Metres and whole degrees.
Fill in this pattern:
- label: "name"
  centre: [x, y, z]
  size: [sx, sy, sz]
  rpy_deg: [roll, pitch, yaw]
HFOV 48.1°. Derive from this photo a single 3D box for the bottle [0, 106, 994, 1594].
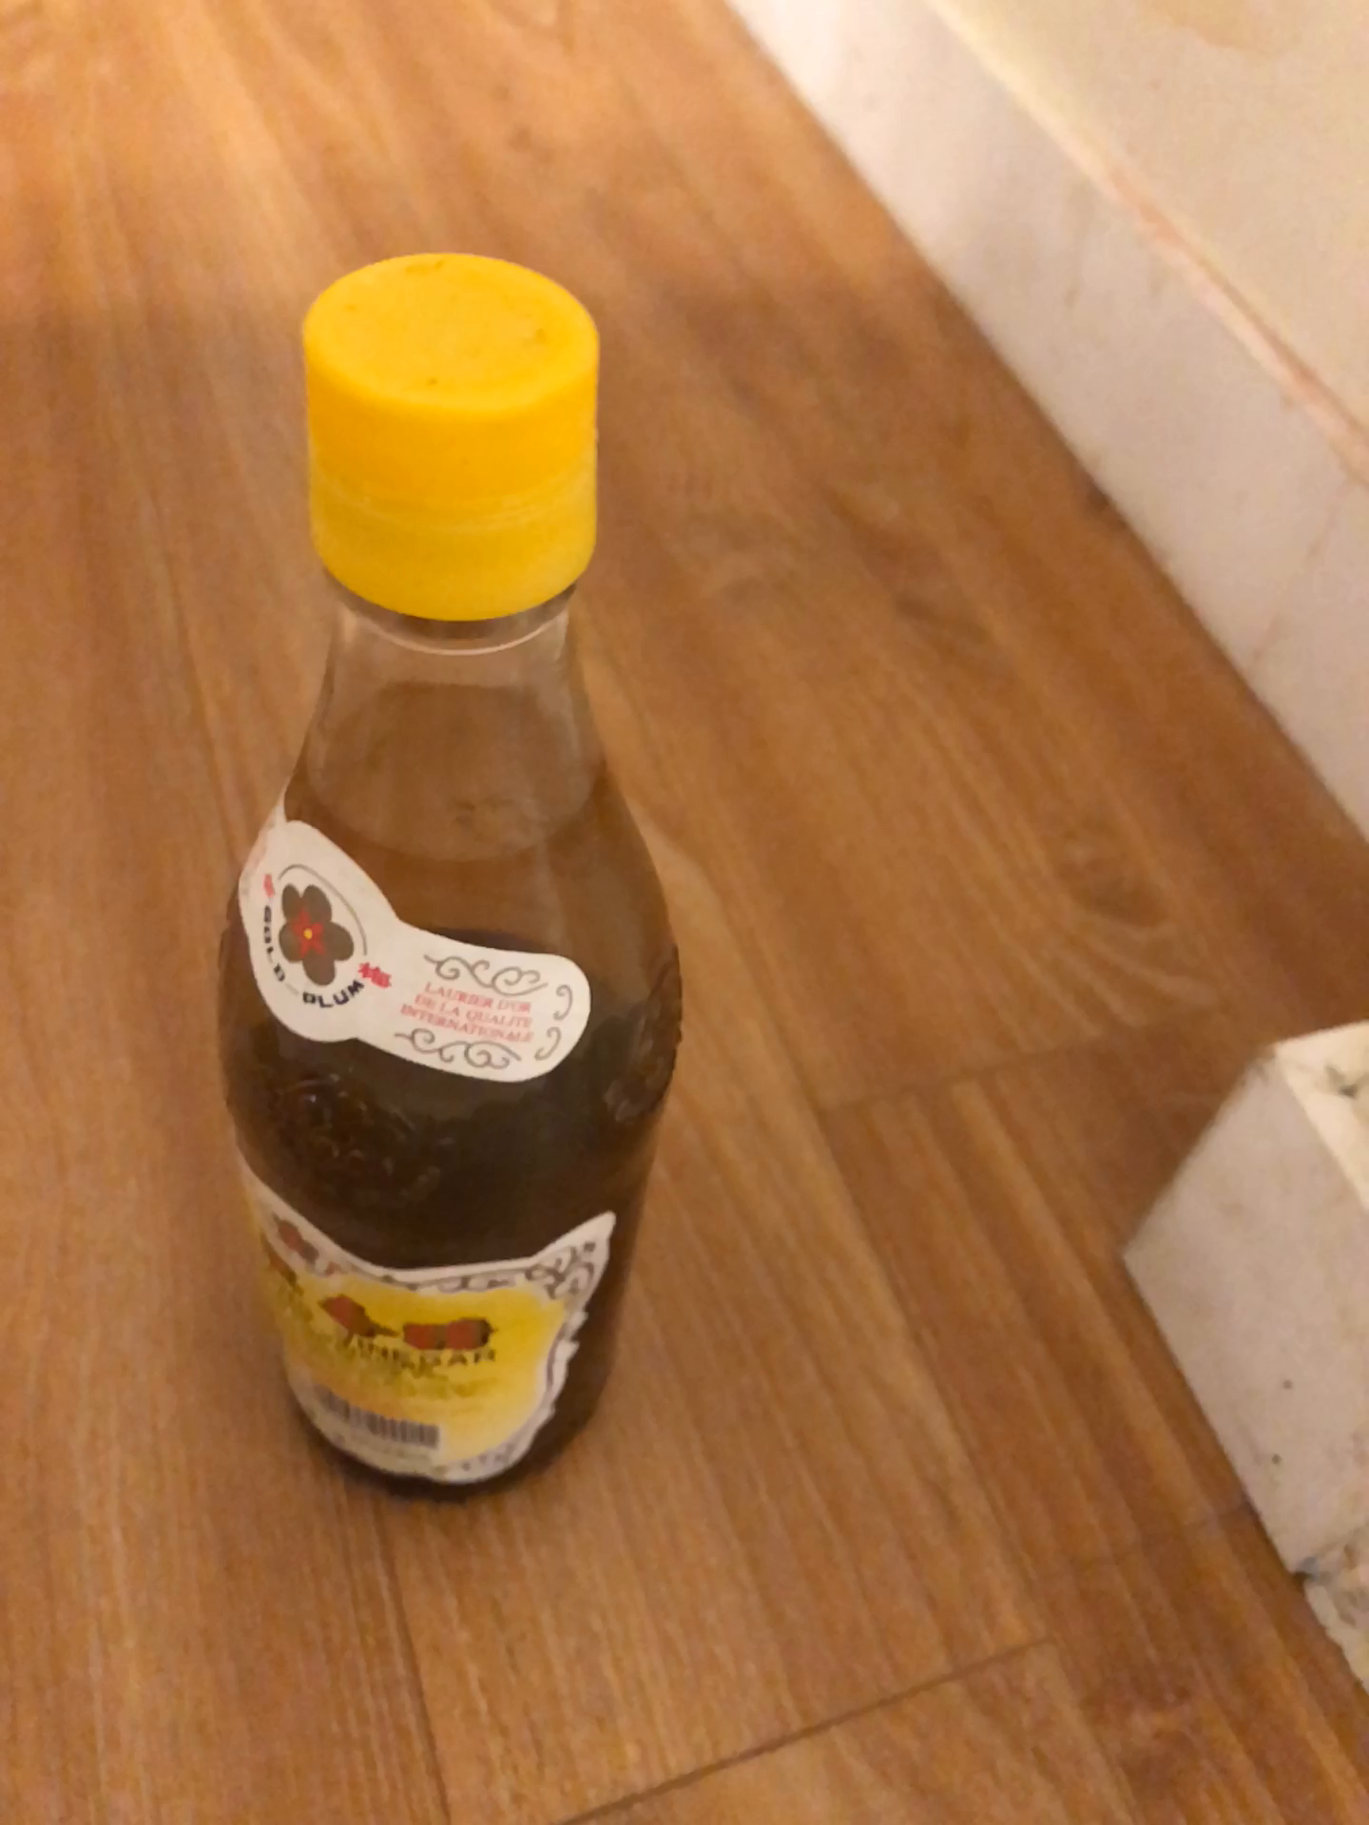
- label: "bottle"
  centre: [-0.034, 0.018, 0.231]
  size: [0.070, 0.229, 0.070]
  rpy_deg: [5, 51, -6]
